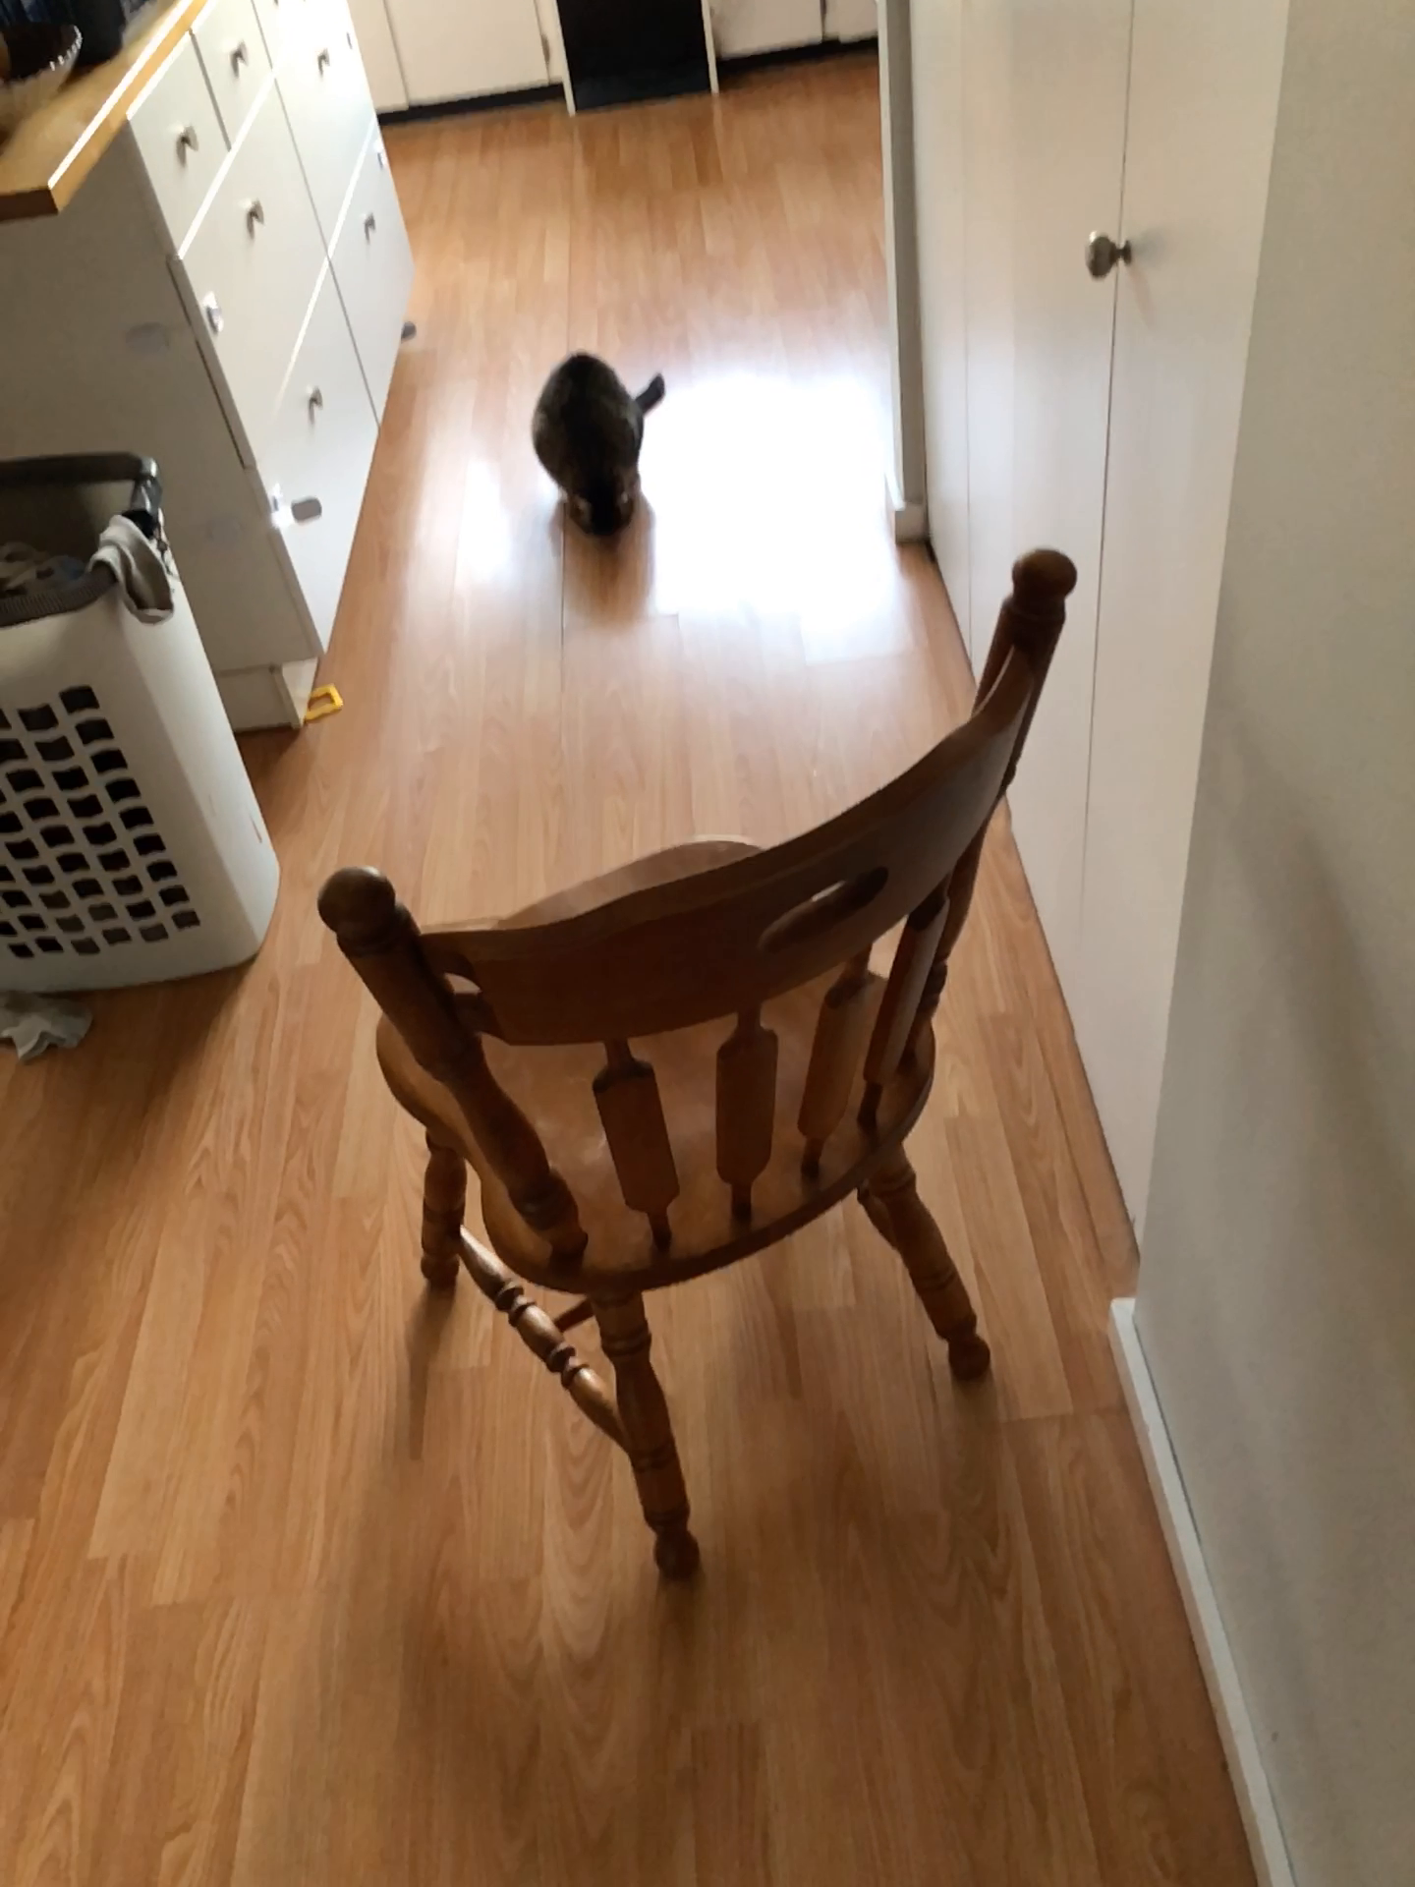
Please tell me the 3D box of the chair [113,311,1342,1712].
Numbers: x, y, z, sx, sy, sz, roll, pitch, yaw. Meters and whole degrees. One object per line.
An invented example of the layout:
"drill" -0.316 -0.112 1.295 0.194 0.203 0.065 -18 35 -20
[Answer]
"chair" 0.023 0.061 1.272 0.560 0.818 0.592 -28 47 -17
